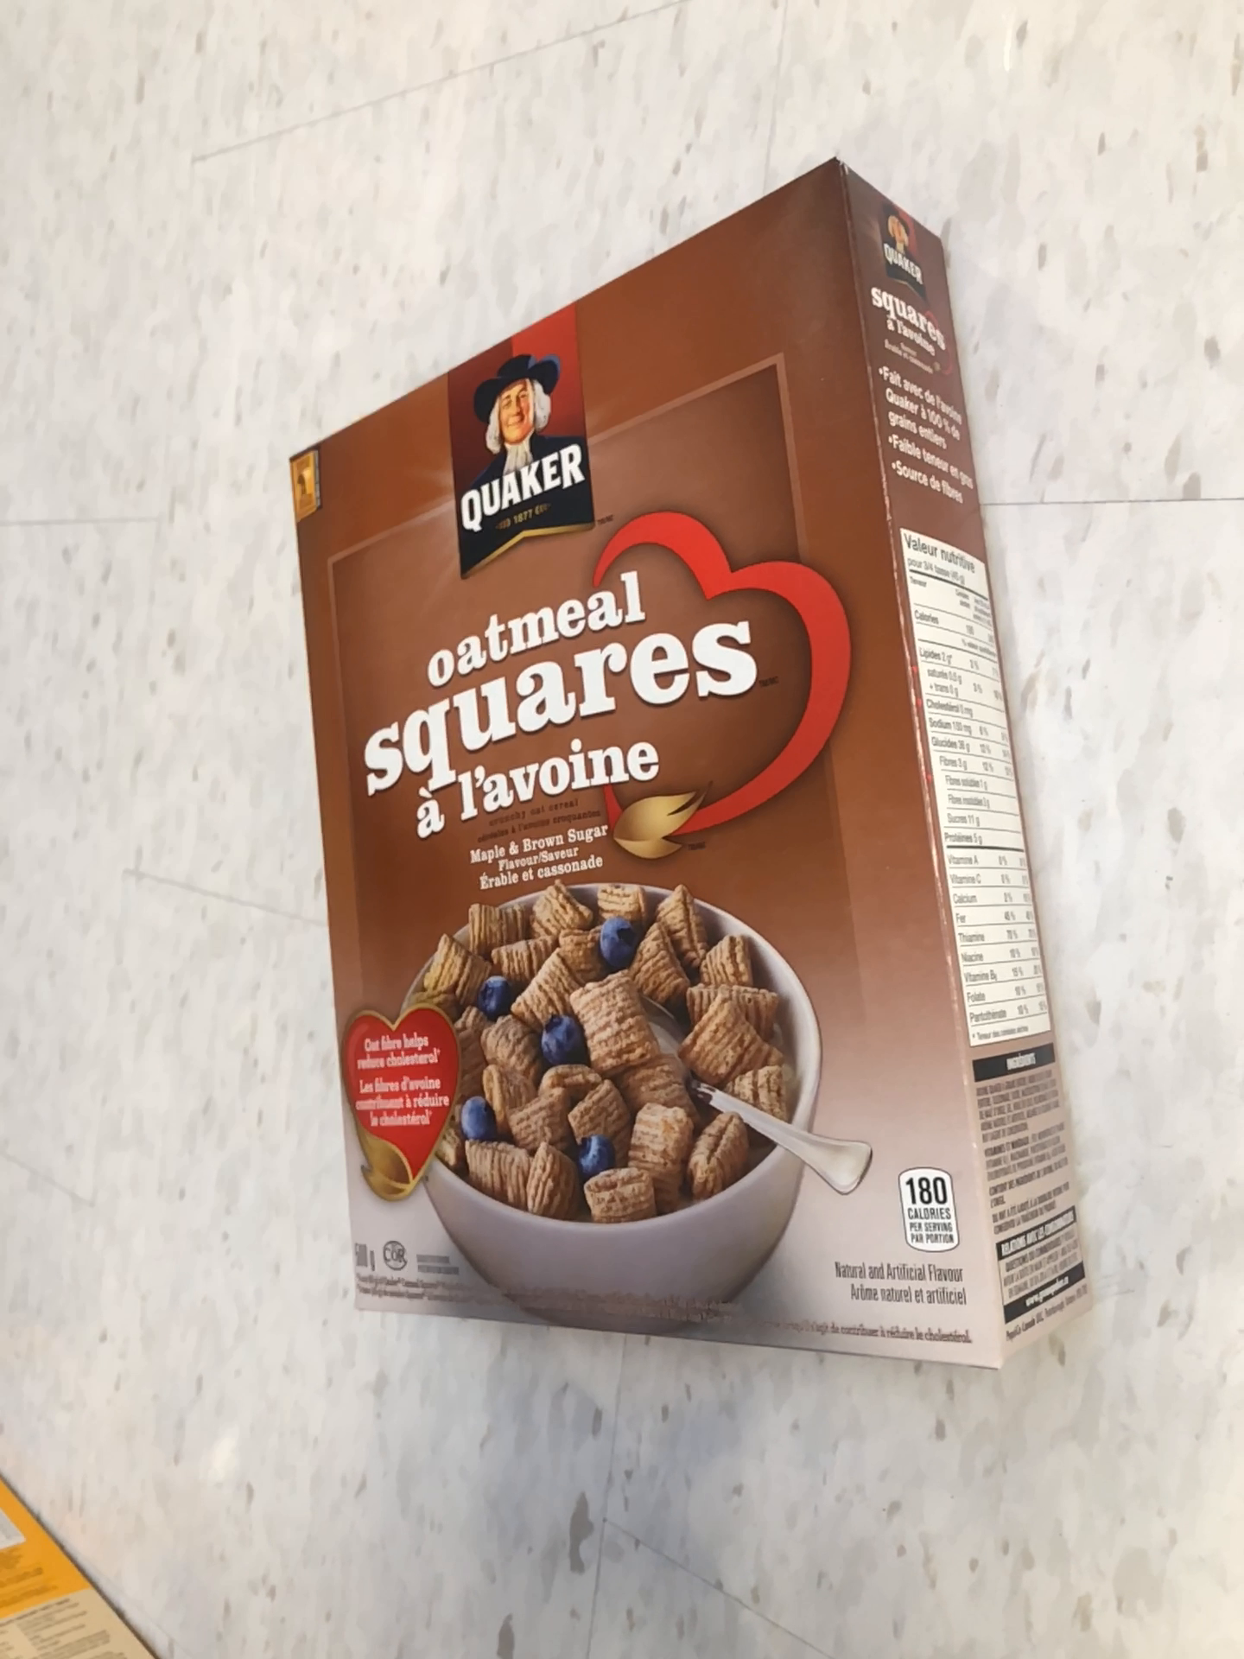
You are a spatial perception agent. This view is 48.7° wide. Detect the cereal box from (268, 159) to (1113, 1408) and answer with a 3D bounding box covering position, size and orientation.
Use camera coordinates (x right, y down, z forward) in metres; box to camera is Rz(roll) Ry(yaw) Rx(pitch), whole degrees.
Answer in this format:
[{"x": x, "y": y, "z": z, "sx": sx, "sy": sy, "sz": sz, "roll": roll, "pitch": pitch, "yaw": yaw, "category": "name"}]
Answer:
[{"x": 0.001, "y": 0.000, "z": 0.386, "sx": 0.211, "sy": 0.070, "sz": 0.270, "roll": -12, "pitch": 81, "yaw": 39, "category": "cereal box"}]
